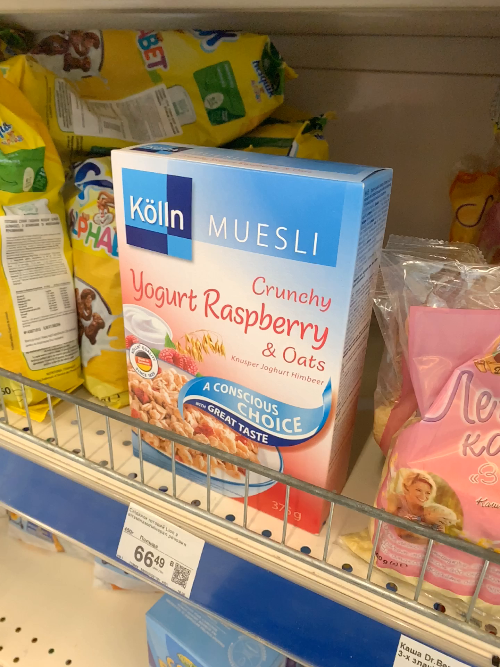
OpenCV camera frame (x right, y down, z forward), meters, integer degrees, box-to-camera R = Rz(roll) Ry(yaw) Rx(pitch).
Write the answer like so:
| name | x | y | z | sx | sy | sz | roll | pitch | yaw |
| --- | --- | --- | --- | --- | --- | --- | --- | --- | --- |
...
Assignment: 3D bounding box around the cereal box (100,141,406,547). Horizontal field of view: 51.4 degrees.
| name | x | y | z | sx | sy | sz | roll | pitch | yaw |
| --- | --- | --- | --- | --- | --- | --- | --- | --- | --- |
| cereal box | -0.004 | 0.002 | 0.317 | 0.150 | 0.208 | 0.060 | 15 | 29 | 25 |
